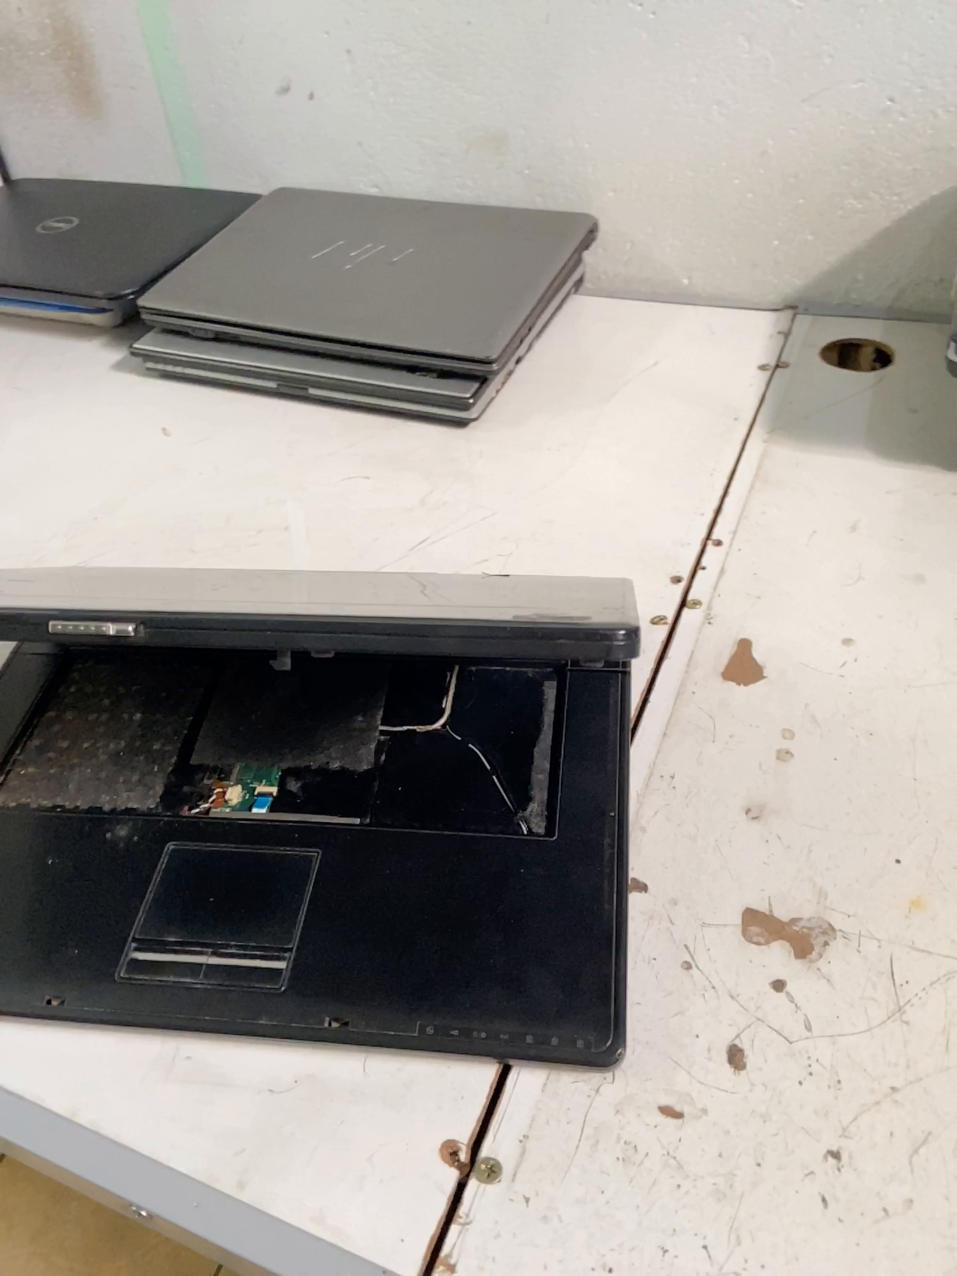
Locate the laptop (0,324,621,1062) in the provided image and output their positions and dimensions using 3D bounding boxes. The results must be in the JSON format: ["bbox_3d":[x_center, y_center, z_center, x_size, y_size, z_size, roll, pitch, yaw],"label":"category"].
[{"bbox_3d":[-0.115,0.005,0.440,0.348,0.164,0.261,1,44,9],"label":"laptop"}]
